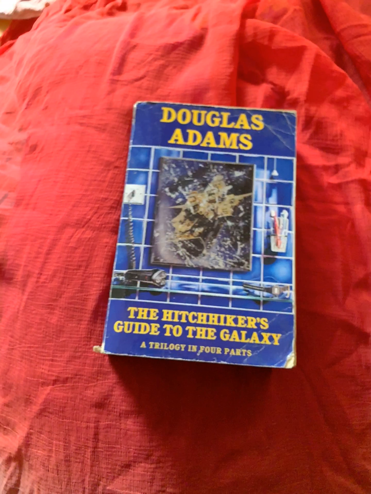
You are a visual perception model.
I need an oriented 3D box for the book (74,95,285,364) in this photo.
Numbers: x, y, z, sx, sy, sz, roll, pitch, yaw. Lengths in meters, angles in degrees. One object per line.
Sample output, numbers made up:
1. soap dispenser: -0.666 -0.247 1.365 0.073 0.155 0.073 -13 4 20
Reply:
1. book: 0.002 -0.016 0.293 0.130 0.045 0.187 5 75 2
